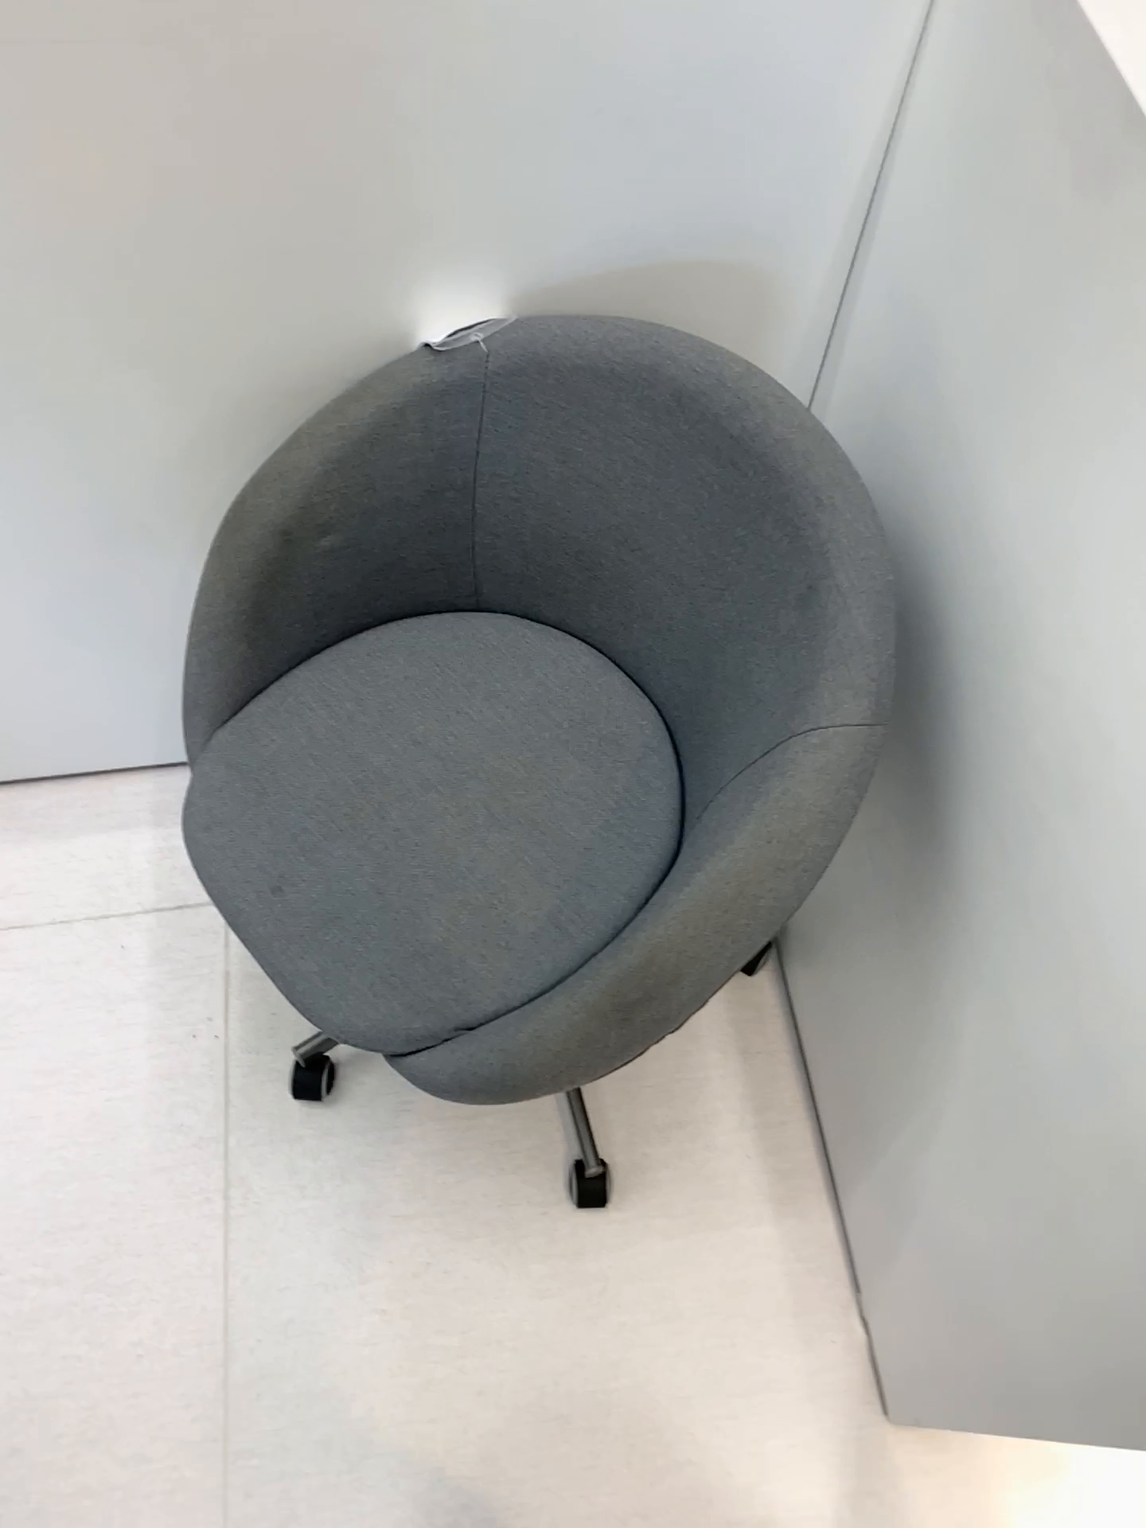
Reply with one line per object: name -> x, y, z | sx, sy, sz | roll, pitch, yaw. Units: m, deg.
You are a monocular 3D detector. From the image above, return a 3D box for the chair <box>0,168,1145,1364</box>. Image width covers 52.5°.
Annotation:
chair -> -0.032, 0.043, 1.291 | 0.721, 0.769, 0.831 | 41, 67, 17
